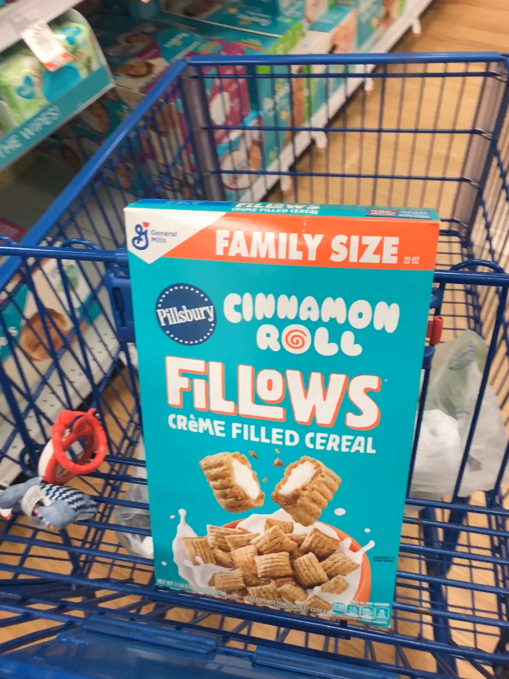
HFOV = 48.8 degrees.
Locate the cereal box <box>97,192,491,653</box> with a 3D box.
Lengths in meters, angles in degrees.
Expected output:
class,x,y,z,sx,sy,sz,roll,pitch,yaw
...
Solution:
class,x,y,z,sx,sy,sz,roll,pitch,yaw
cereal box,0.019,0.056,0.374,0.210,0.290,0.060,4,20,11
